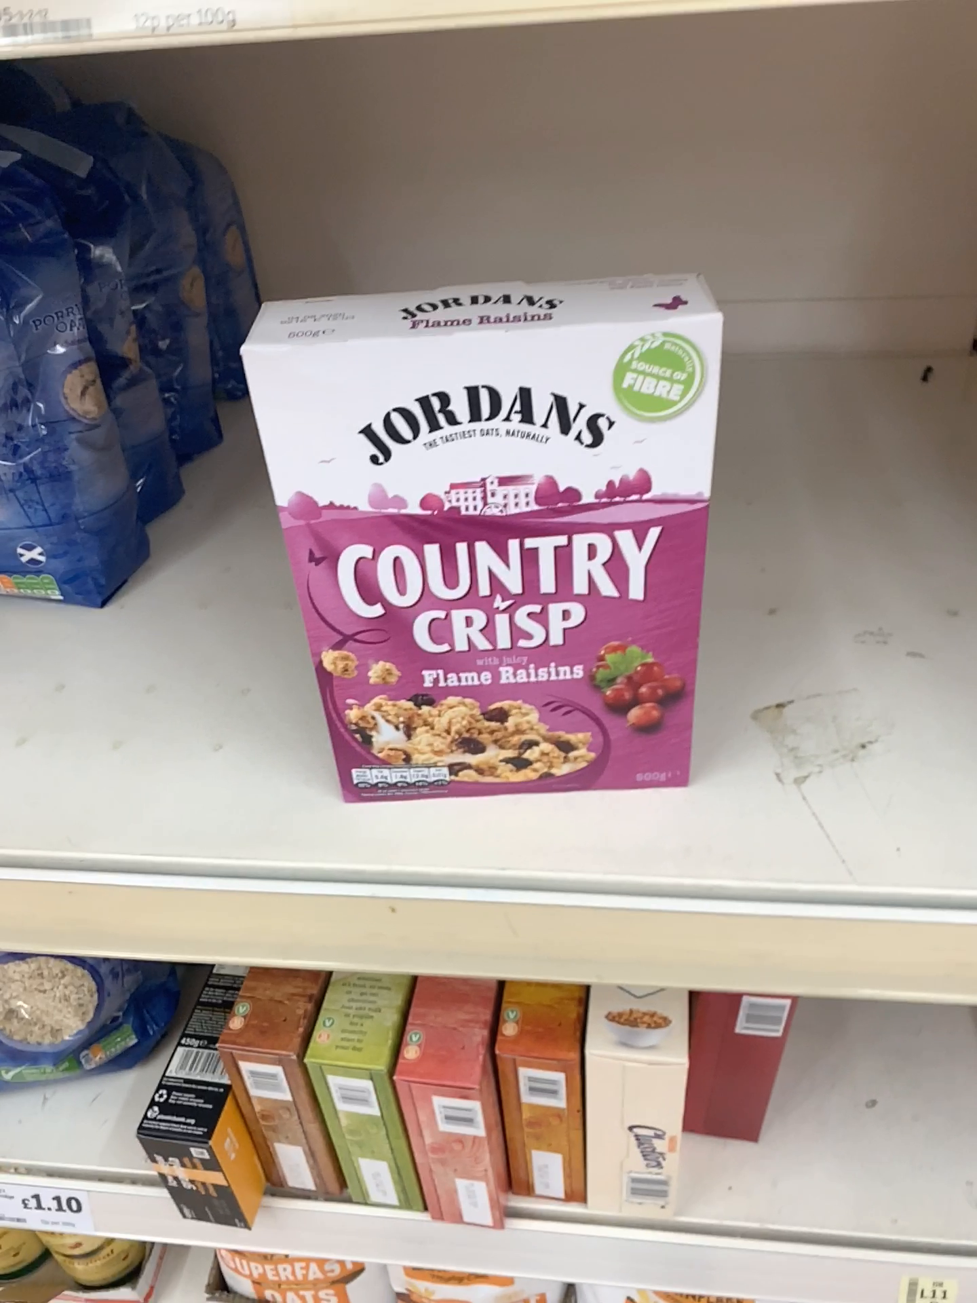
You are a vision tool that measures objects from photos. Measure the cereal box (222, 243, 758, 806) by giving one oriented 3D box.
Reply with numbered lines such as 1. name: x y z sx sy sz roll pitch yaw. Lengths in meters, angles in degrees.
1. cereal box: 0.007 -0.041 0.451 0.190 0.248 0.050 -3 37 2
